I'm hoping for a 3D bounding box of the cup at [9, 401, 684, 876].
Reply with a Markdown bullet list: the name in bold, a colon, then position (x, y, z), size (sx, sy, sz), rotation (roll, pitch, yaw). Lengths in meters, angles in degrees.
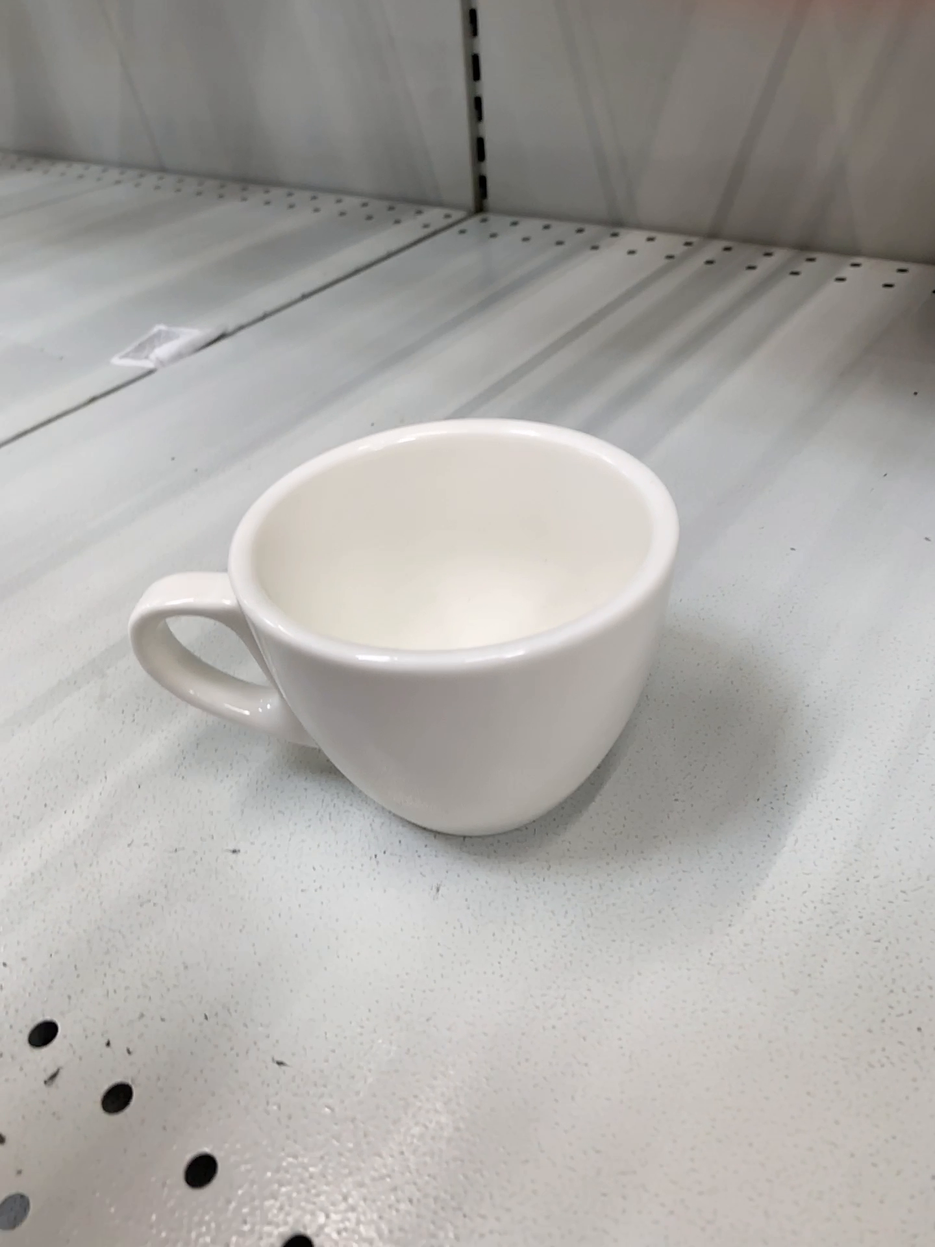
- **cup**: position (-0.017, -0.004, 0.238), size (0.132, 0.062, 0.095), rotation (4, 38, 12)
